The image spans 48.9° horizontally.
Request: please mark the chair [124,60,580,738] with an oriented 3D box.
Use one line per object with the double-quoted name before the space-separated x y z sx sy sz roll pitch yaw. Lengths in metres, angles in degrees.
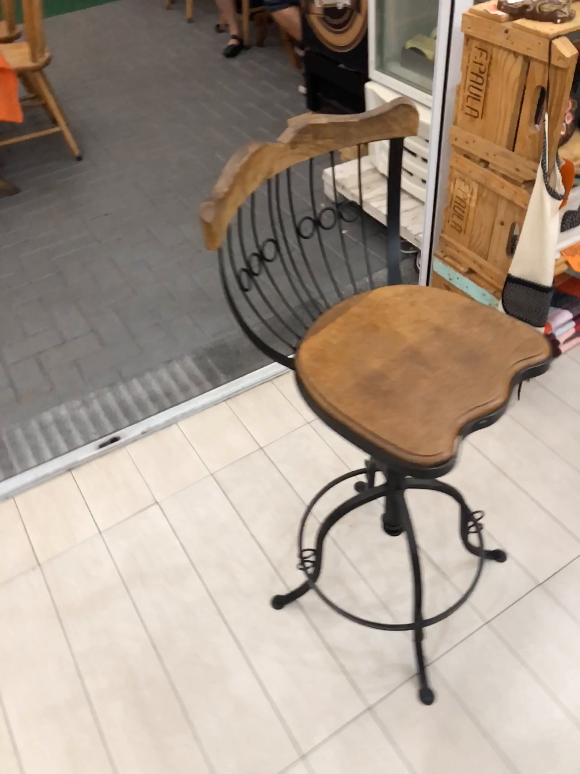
"chair" 0.174 0.059 1.030 0.471 0.894 0.462 31 55 32
